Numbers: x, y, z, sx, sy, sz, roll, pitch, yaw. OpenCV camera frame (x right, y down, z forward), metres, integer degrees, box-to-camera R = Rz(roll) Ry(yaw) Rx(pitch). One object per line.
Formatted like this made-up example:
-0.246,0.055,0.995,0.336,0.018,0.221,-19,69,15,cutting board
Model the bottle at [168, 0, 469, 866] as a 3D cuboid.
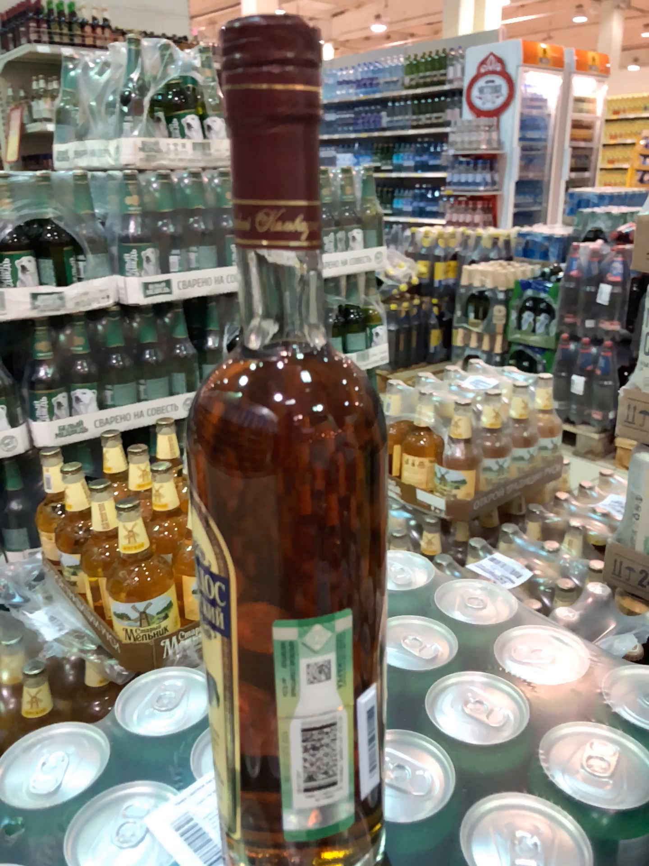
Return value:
-0.005,0.029,0.248,0.070,0.298,0.070,0,19,0,bottle
